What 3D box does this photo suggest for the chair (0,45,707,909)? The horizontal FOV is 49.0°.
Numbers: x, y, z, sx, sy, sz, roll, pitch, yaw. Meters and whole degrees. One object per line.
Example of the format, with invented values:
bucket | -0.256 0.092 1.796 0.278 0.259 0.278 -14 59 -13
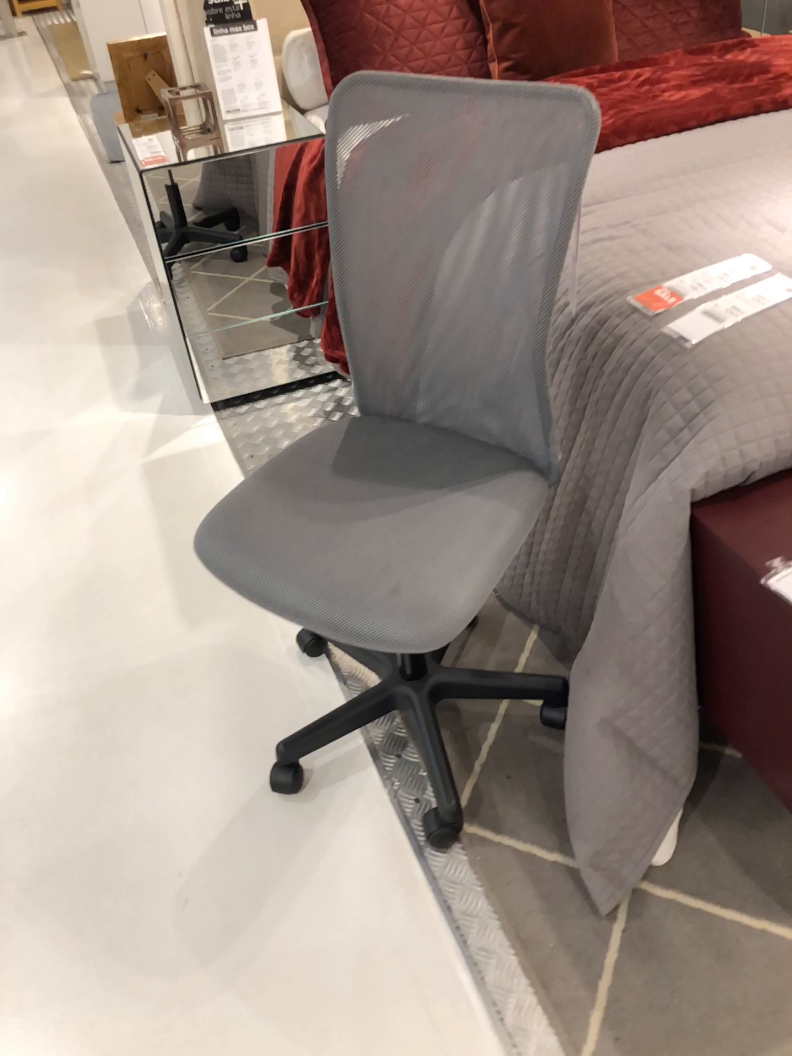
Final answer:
chair | -0.017 -0.091 1.273 0.562 0.943 0.643 26 49 34
